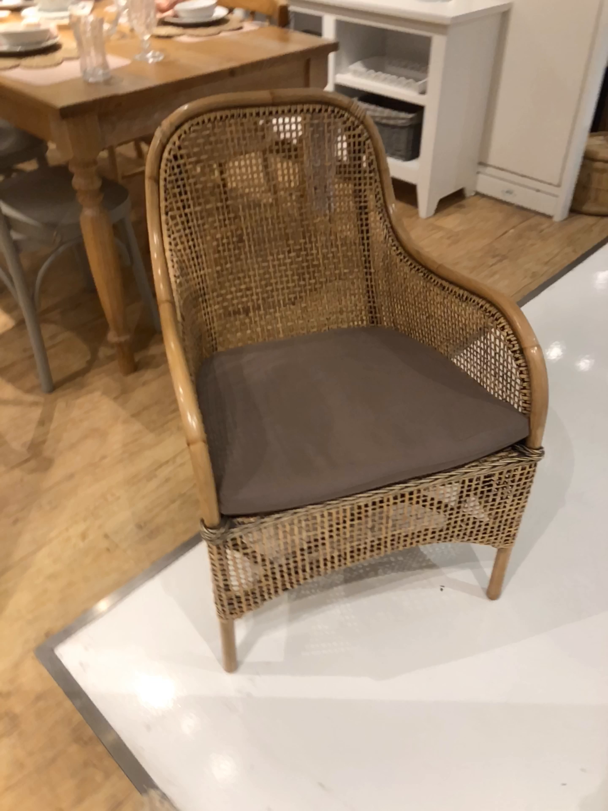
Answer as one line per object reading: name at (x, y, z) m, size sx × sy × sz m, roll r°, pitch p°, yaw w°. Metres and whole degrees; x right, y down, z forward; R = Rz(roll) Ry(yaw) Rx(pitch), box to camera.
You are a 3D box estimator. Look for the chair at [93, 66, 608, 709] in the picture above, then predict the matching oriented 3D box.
chair at (0.013, -0.039, 1.241) m, size 0.541 × 0.903 × 0.624 m, roll -13°, pitch 41°, yaw -15°
